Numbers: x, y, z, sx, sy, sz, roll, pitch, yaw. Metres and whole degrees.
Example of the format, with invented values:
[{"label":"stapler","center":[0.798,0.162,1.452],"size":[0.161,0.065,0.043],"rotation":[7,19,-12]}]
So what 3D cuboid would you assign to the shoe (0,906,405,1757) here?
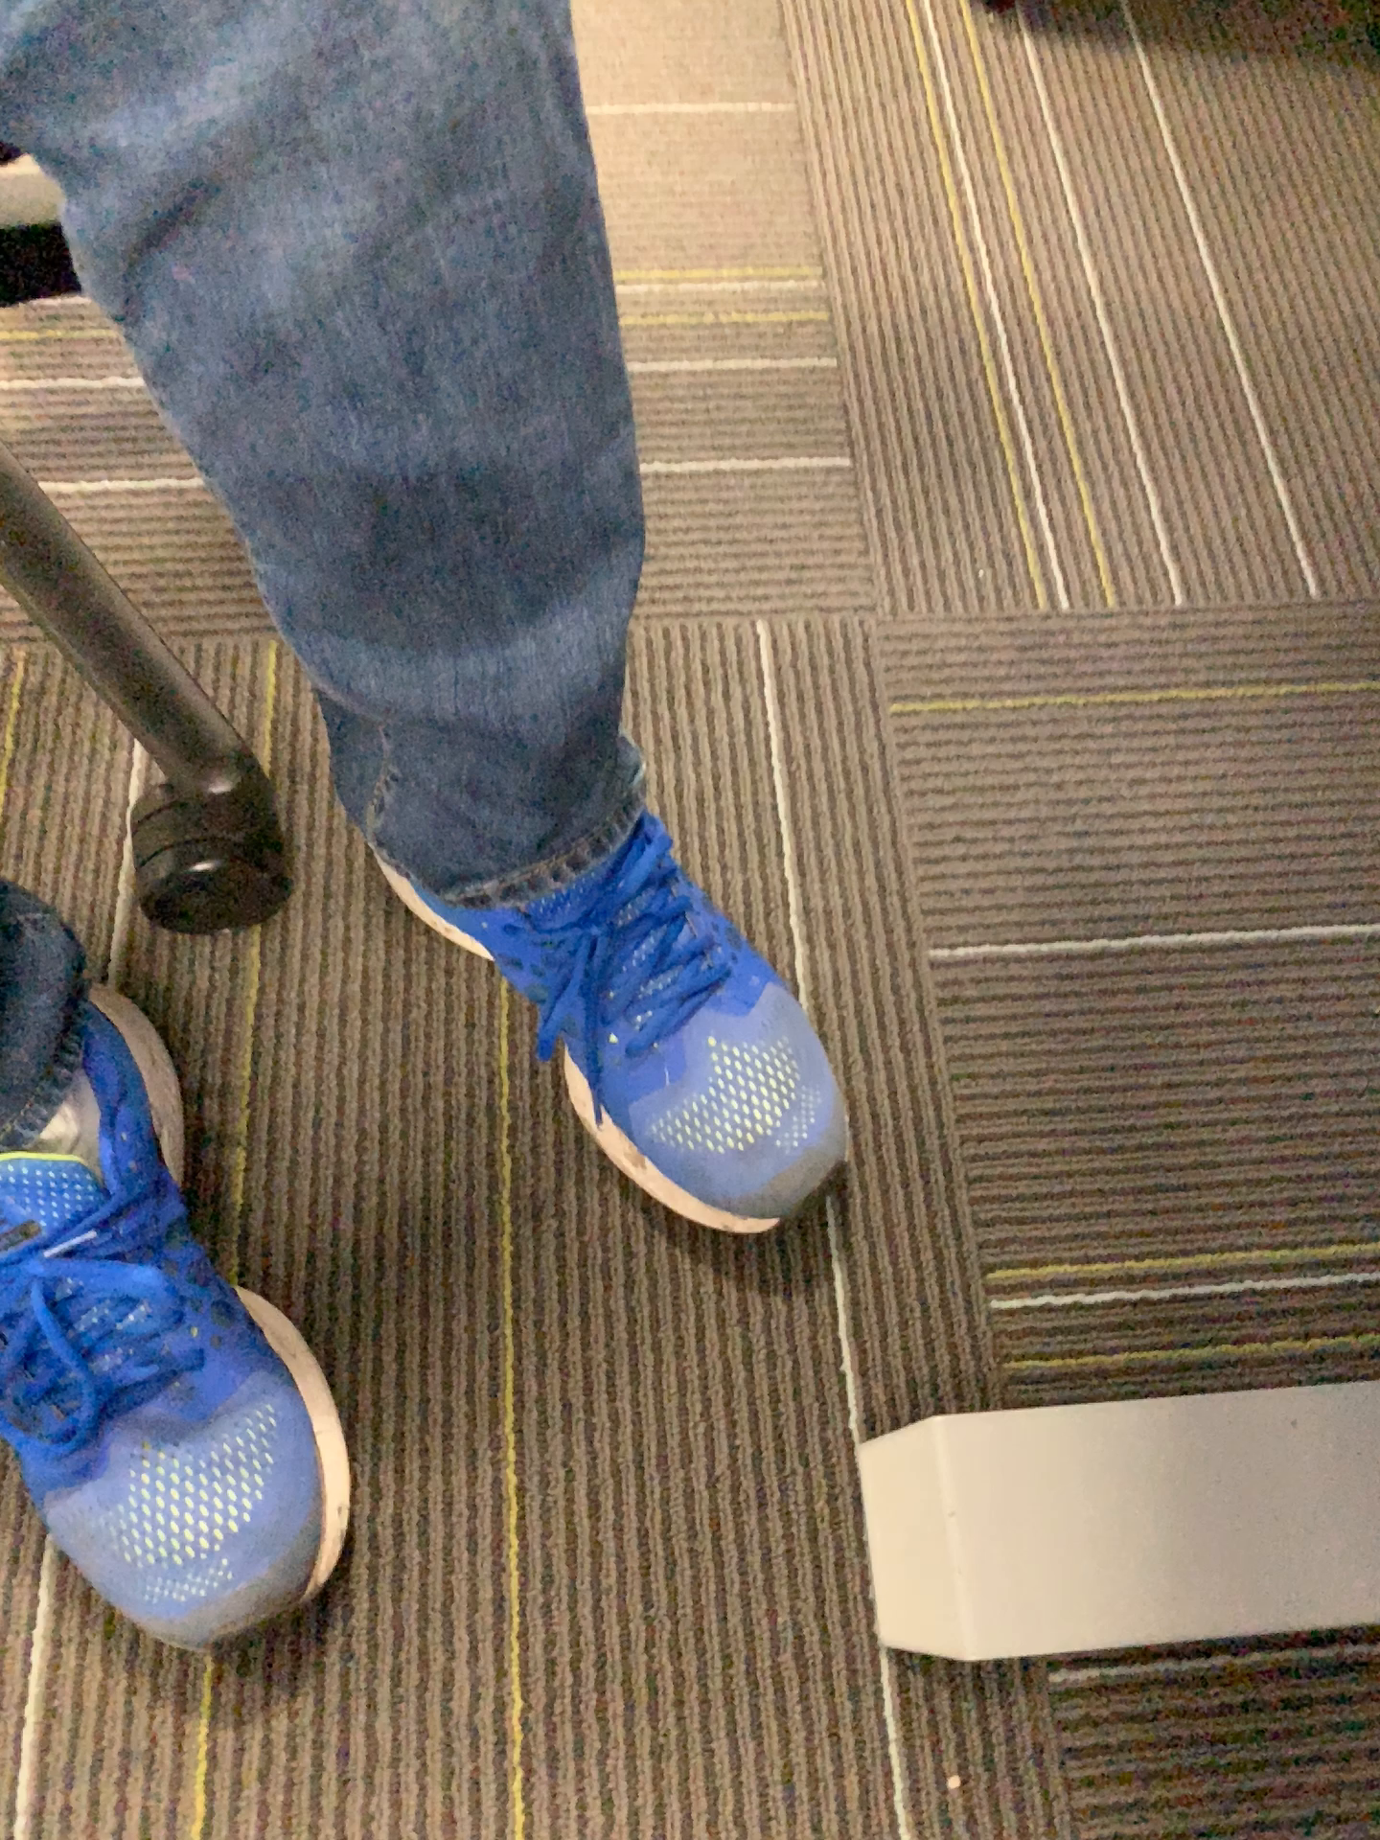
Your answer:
[{"label":"shoe","center":[-0.231,0.148,0.549],"size":[0.117,0.083,0.279],"rotation":[-27,68,-14]}]

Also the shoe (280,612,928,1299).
[{"label":"shoe","center":[-0.043,0.010,0.612],"size":[0.116,0.083,0.279],"rotation":[-36,71,-18]}]
